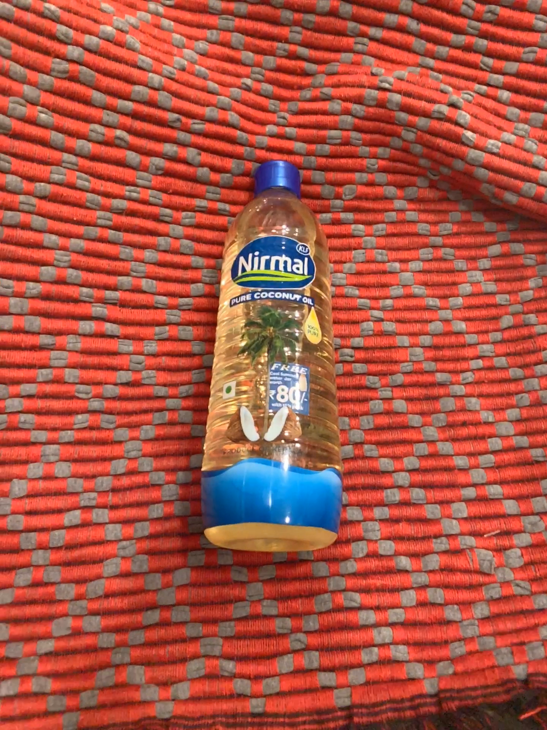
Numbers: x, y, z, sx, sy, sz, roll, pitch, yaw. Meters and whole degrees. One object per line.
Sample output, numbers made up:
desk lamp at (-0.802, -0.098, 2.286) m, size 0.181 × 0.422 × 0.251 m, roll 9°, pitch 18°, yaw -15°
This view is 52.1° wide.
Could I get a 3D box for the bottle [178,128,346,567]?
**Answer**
bottle at (-0.001, -0.015, 0.261) m, size 0.060 × 0.050 × 0.200 m, roll 2°, pitch 67°, yaw 1°
